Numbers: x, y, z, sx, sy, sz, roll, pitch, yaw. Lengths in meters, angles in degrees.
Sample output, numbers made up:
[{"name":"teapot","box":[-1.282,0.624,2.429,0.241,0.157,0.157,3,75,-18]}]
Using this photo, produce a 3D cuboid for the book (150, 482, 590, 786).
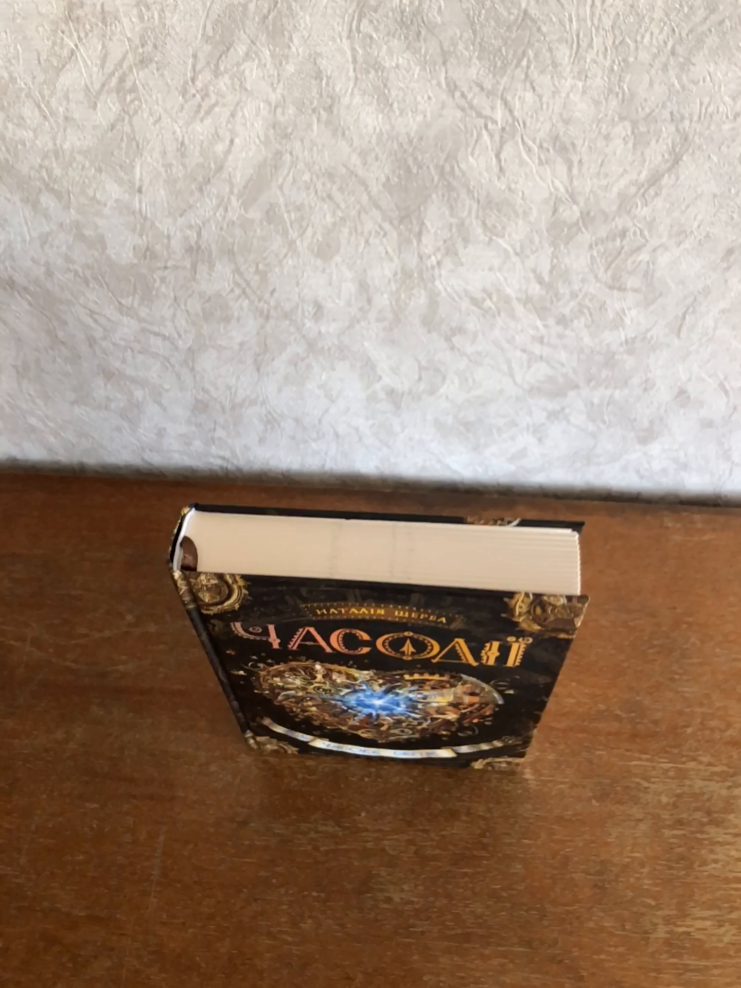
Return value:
[{"name":"book","box":[0.003,0.084,0.412,0.166,0.228,0.042,3,53,4]}]
